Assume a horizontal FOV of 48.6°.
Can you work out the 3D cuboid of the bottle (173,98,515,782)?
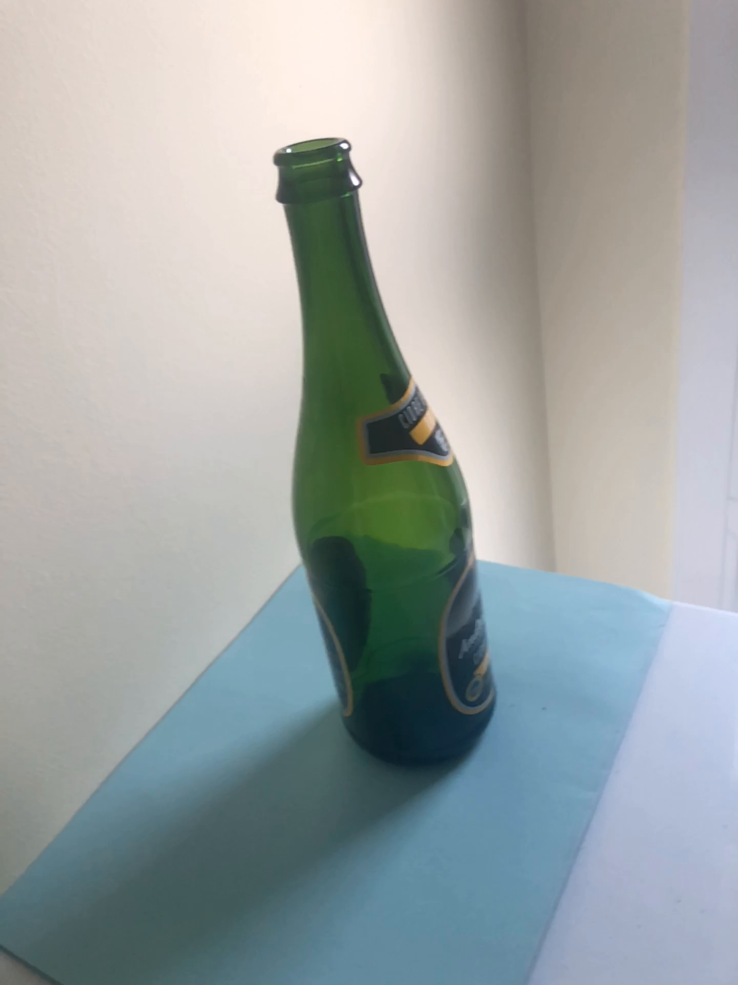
[{"bbox_3d":[0.010,-0.006,0.355,0.080,0.278,0.091,-1,33,16],"label":"bottle"}]
